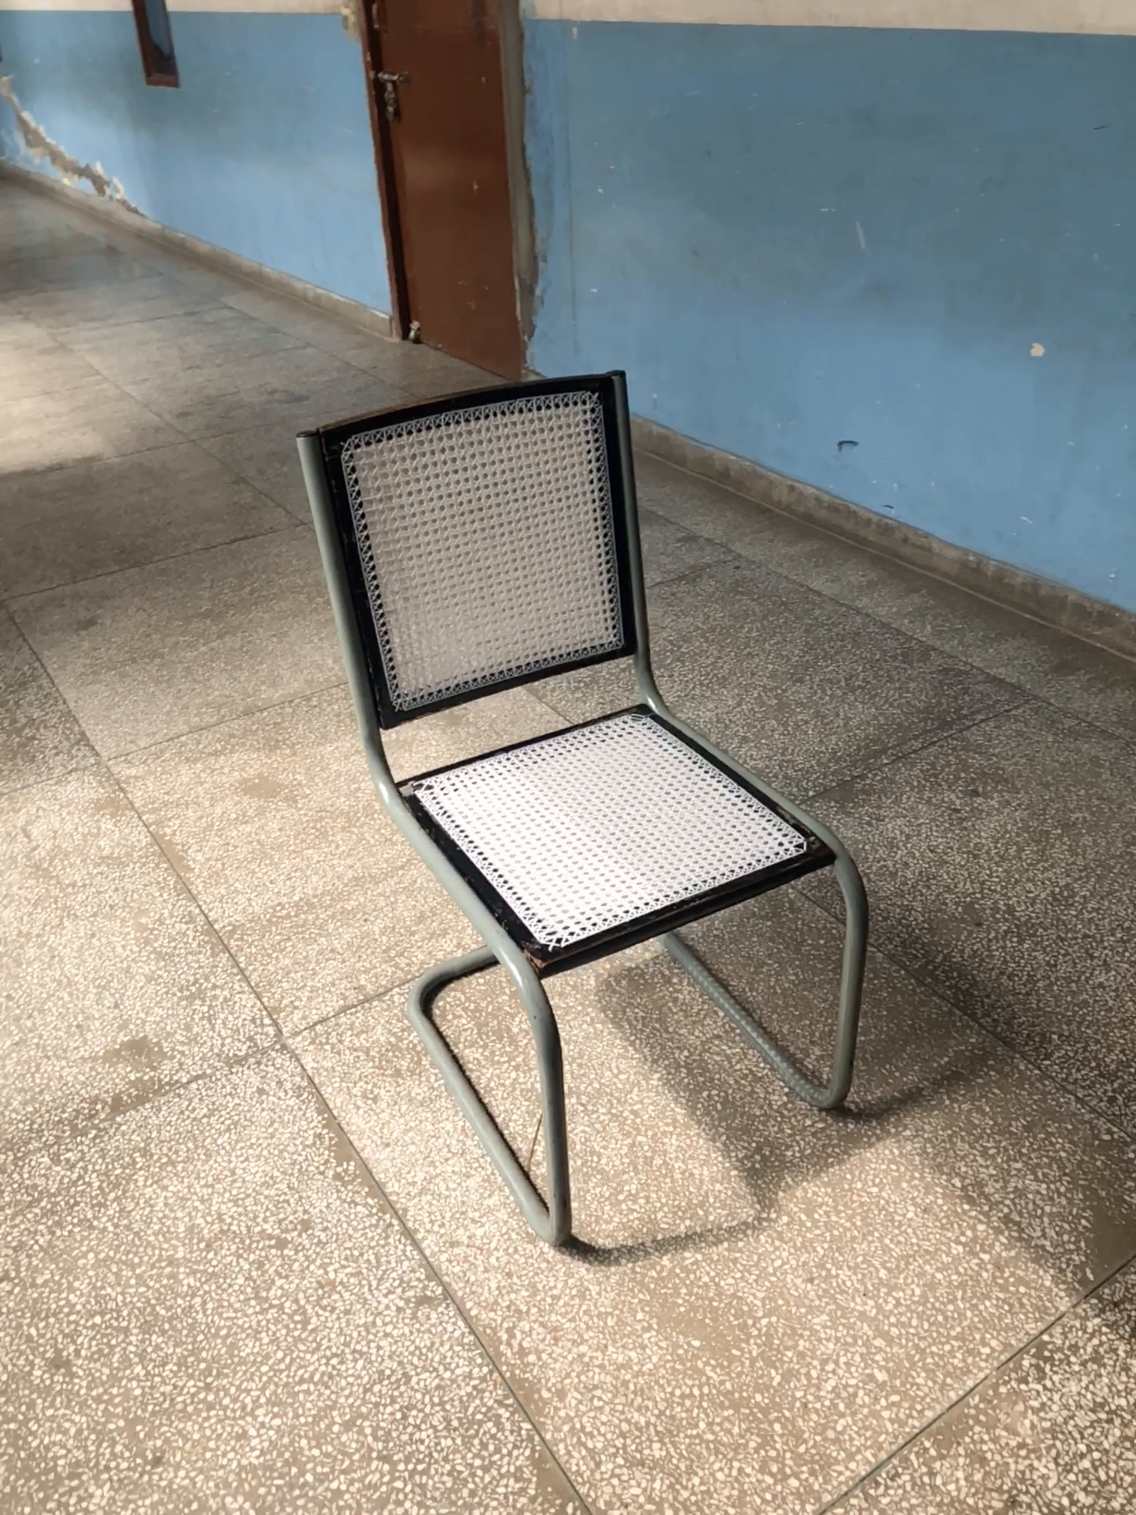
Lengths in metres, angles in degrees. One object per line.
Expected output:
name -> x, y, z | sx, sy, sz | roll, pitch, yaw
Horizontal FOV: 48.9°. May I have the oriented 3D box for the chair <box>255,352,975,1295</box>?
chair -> 0.027, 0.042, 1.459 | 0.490, 0.817, 0.572 | -18, 36, -24
